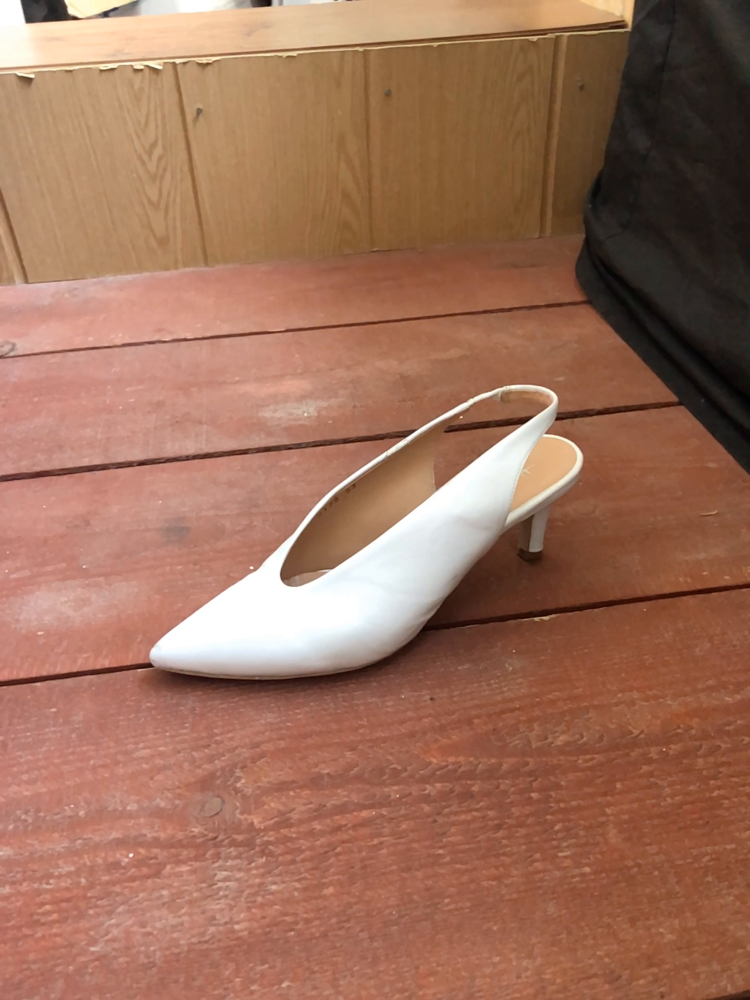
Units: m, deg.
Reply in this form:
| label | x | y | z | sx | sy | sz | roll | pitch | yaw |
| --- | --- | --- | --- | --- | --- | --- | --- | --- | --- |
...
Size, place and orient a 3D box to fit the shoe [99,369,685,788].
| label | x | y | z | sx | sy | sz | roll | pitch | yaw |
| --- | --- | --- | --- | --- | --- | --- | --- | --- | --- |
| shoe | 0.011 | 0.023 | 0.391 | 0.240 | 0.080 | 0.100 | -18 | 38 | -20 |
